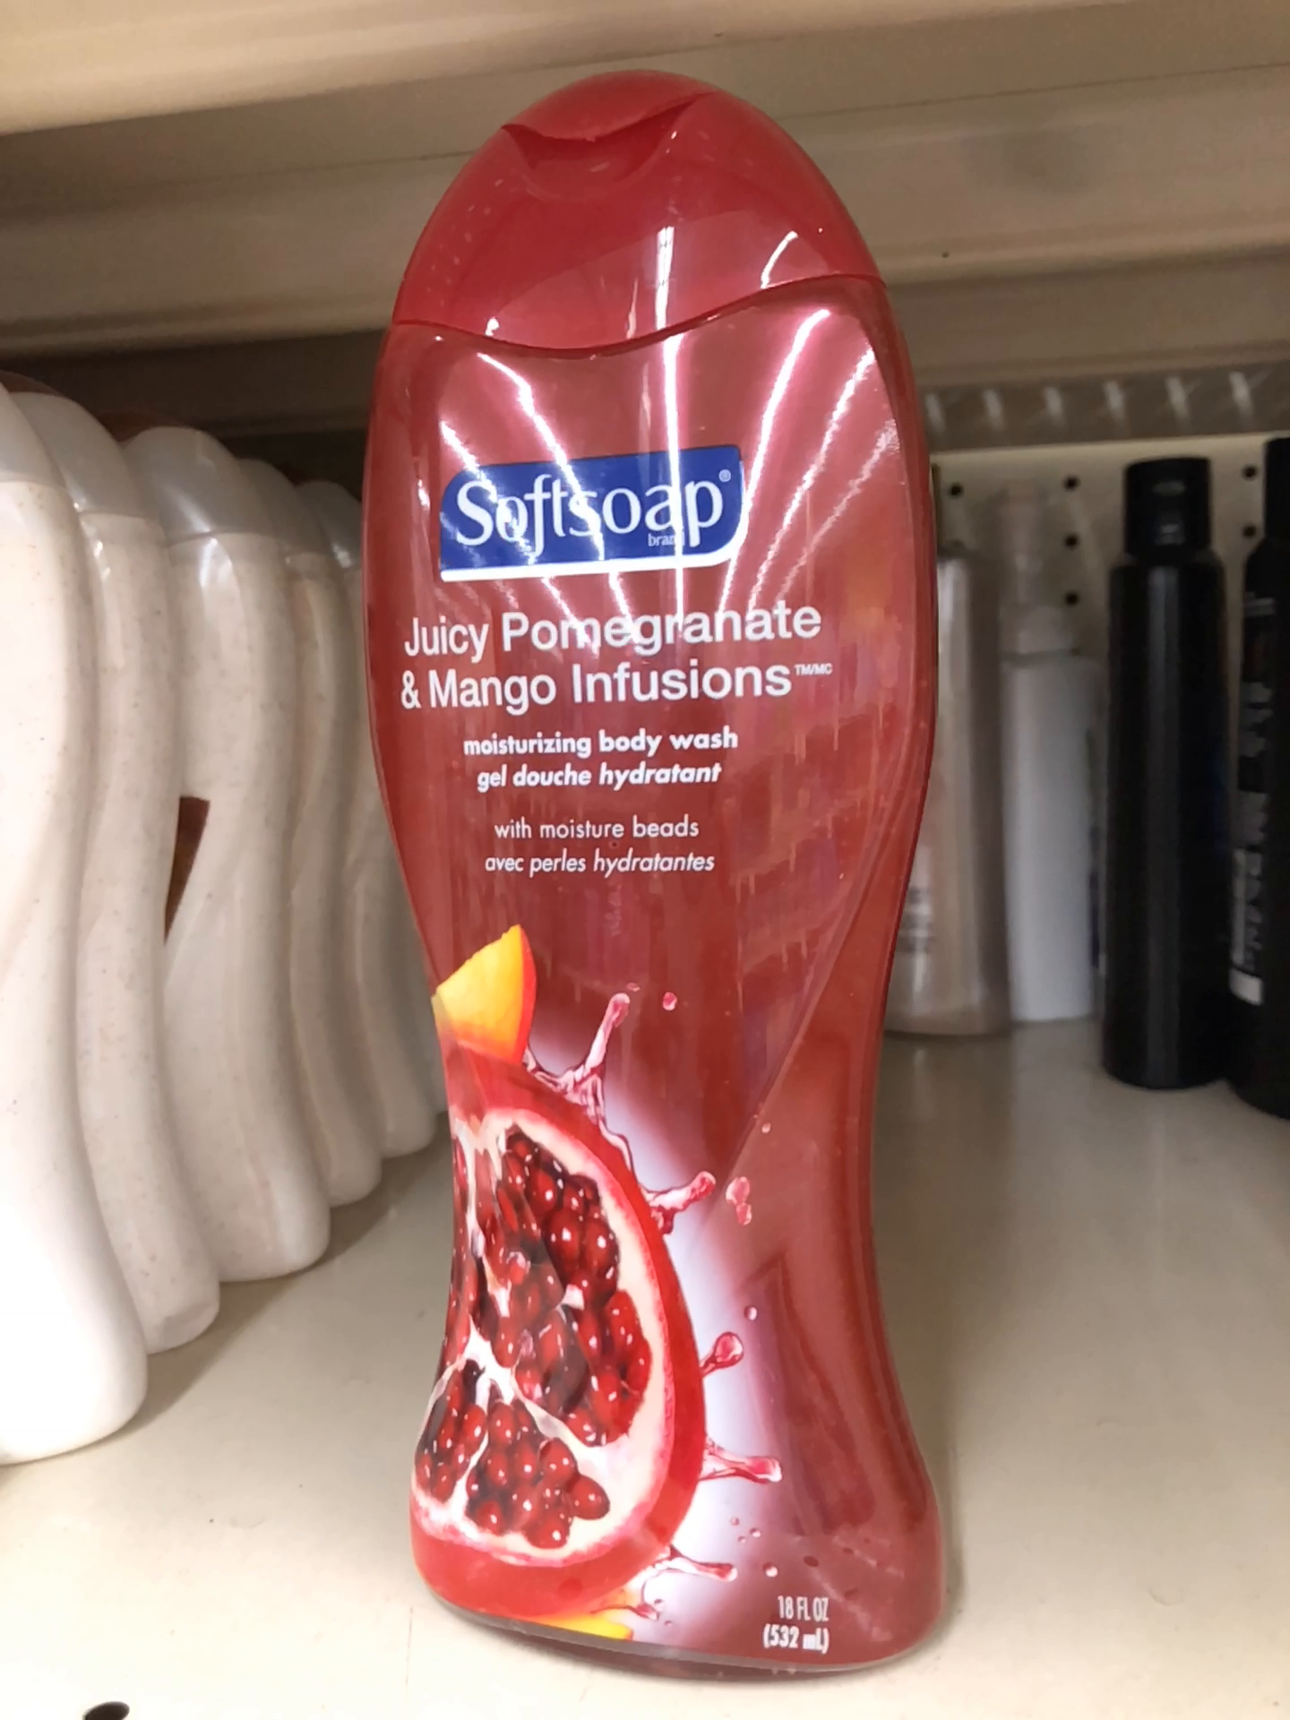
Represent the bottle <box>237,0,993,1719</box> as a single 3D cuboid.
[{"bbox_3d":[0.002,0.004,0.221,0.090,0.230,0.060,1,8,22],"label":"bottle"}]
